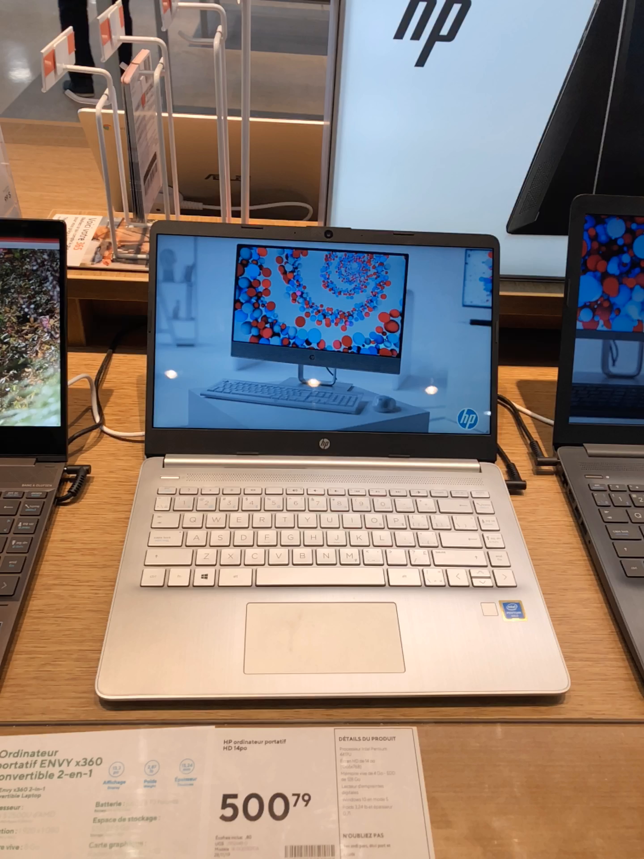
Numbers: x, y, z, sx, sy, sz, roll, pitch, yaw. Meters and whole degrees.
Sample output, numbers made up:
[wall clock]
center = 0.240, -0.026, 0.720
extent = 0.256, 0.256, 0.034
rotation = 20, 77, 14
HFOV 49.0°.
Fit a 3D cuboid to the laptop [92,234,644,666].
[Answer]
[laptop]
center = 0.019, -0.008, 0.578
extent = 0.307, 0.167, 0.347
rotation = 0, 40, -1
